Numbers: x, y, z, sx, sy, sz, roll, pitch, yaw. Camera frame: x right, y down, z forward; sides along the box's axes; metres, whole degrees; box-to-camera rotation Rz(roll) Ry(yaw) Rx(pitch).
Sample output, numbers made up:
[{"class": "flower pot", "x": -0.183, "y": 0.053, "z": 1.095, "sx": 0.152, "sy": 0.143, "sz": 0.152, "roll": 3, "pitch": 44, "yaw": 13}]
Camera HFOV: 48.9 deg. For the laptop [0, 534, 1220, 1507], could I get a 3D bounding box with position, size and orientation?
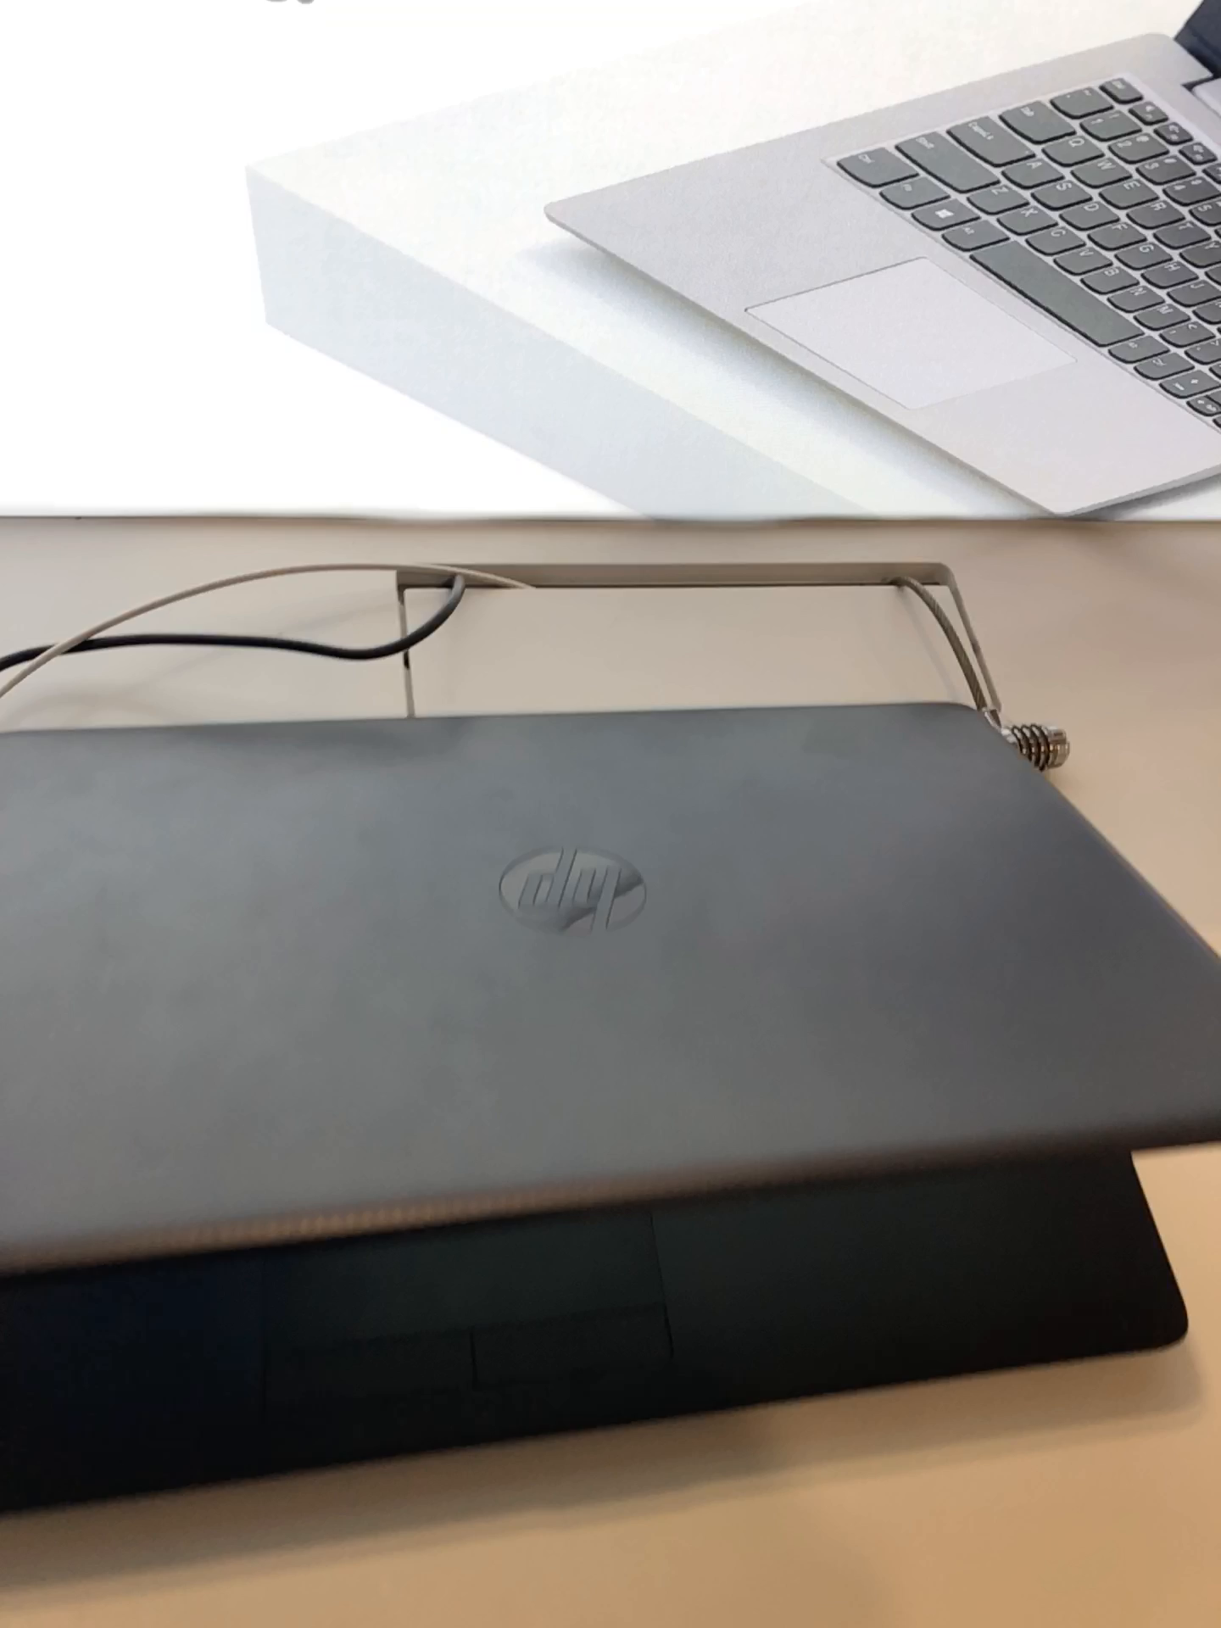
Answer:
[{"class": "laptop", "x": -0.019, "y": 0.042, "z": 0.398, "sx": 0.352, "sy": 0.107, "sz": 0.238, "roll": -2, "pitch": 57, "yaw": -11}]
